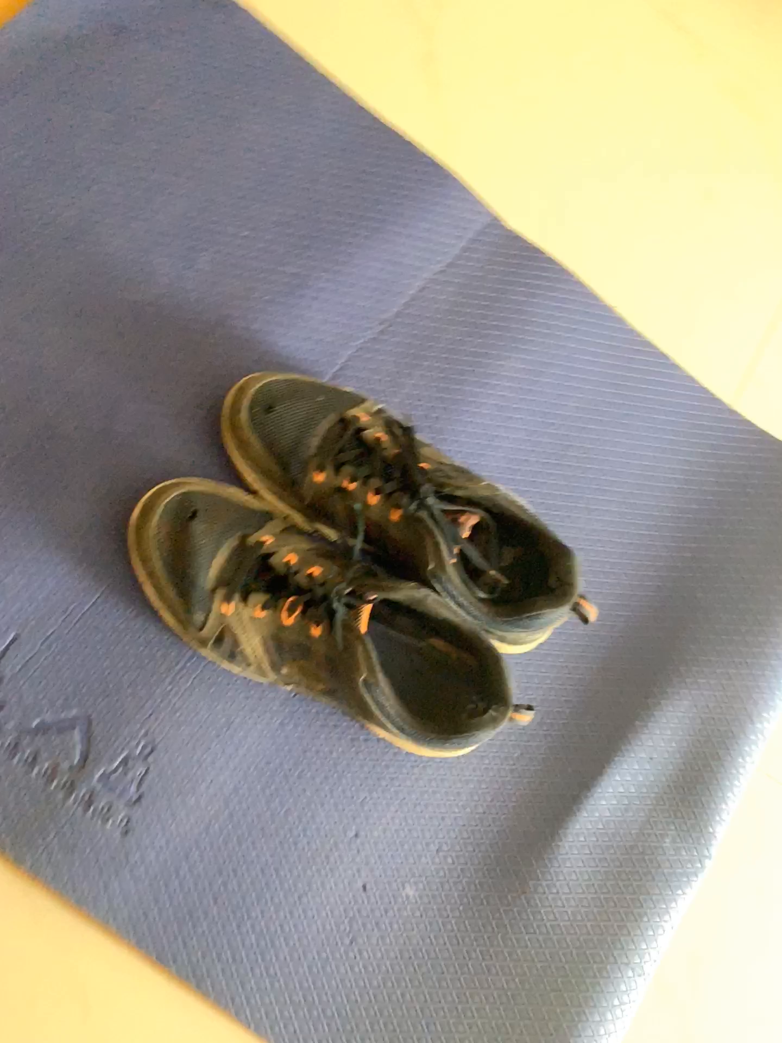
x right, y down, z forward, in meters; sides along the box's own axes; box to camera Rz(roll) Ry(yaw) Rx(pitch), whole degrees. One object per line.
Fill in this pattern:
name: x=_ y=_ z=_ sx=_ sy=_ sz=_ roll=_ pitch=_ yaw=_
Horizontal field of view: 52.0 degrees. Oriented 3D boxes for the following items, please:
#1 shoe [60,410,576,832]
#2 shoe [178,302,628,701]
shoe: x=-0.047 y=0.072 z=0.540 sx=0.310 sy=0.100 sz=0.110 roll=33 pitch=70 yaw=-5
shoe: x=0.005 y=-0.007 z=0.600 sx=0.320 sy=0.100 sz=0.100 roll=38 pitch=76 yaw=-4
